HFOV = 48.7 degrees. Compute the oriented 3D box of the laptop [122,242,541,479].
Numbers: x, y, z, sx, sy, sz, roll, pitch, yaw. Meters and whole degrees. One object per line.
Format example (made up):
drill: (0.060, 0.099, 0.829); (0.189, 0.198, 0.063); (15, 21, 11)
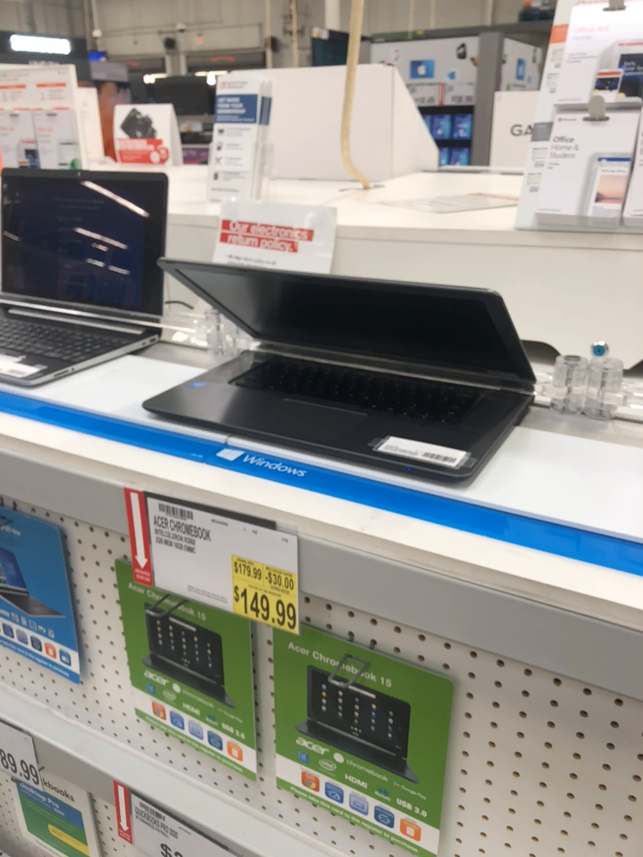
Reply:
laptop: (0.011, -0.095, 0.746); (0.365, 0.136, 0.220); (12, 28, 28)
